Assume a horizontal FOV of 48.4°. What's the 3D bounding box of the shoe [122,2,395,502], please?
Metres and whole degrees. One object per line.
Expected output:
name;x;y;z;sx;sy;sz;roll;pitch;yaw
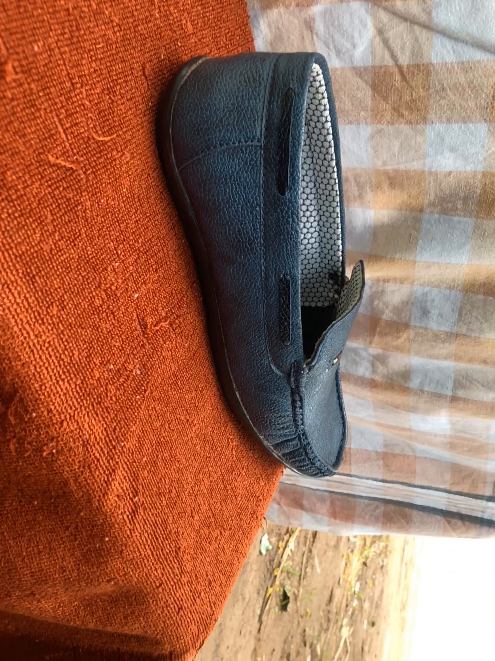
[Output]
shoe;0.029;-0.032;0.326;0.100;0.089;0.261;-57;143;-48
